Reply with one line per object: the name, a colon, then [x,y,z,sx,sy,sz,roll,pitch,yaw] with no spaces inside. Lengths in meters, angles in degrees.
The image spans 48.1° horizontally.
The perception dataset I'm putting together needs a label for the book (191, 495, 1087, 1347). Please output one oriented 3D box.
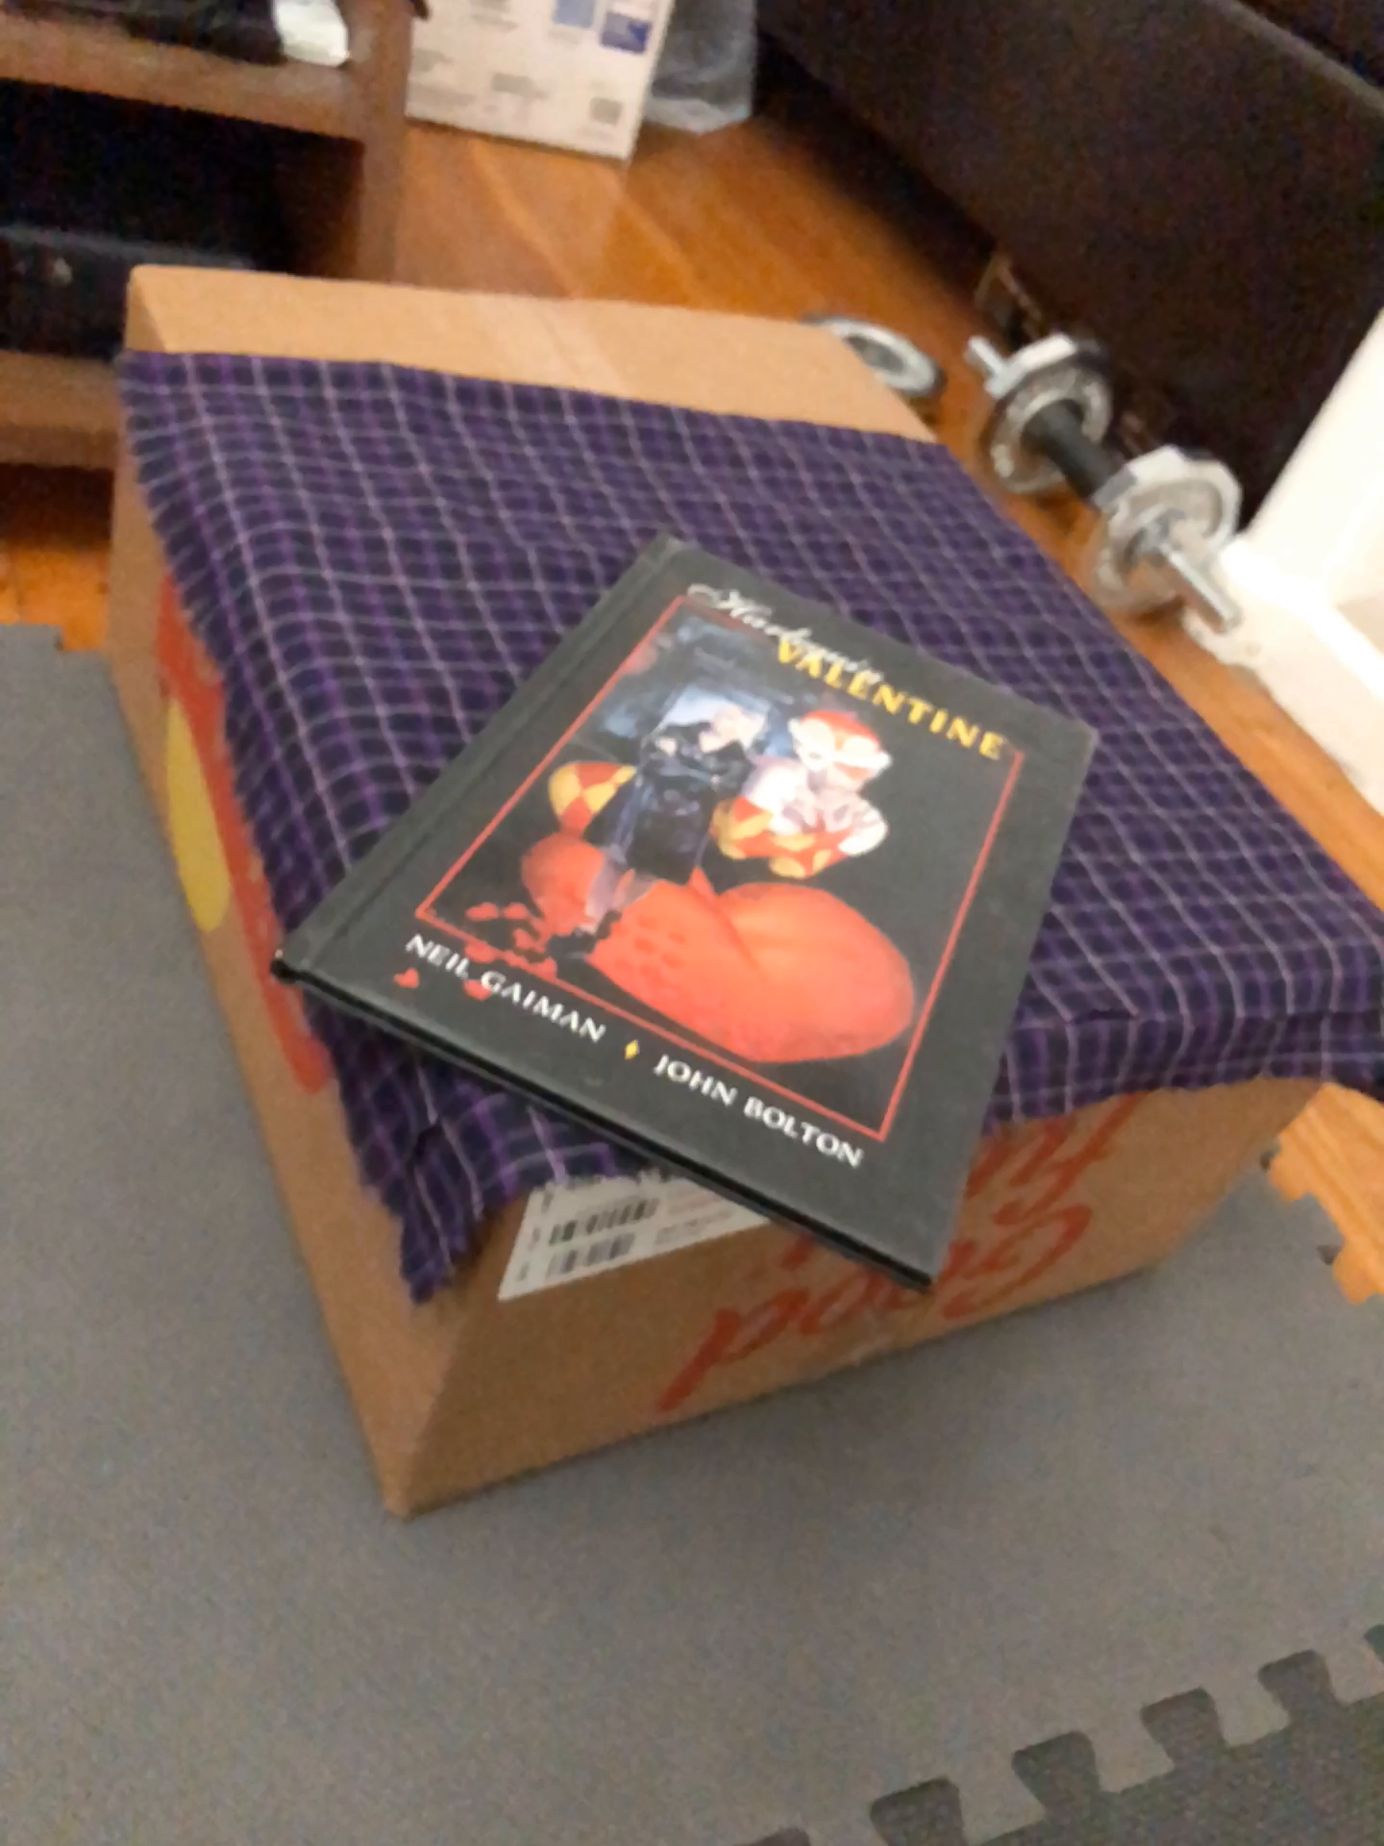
book: [0.012,-0.029,0.458,0.180,0.020,0.282,25,41,3]
